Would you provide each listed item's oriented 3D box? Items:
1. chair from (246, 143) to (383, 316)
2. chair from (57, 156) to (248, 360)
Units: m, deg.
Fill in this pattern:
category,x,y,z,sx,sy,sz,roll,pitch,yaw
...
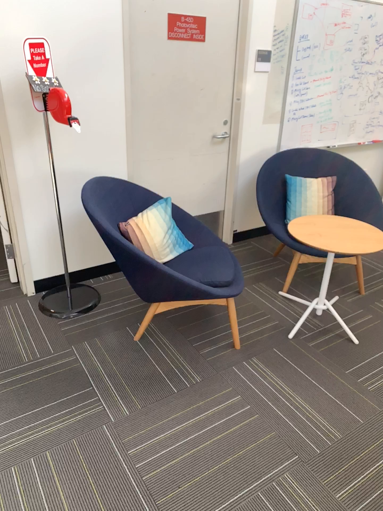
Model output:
category,x,y,z,sx,sy,sz,roll,pitch,yaw
chair,0.887,-0.259,2.988,0.830,0.945,0.985,5,26,7
chair,-0.153,-0.038,2.248,0.840,0.835,0.794,4,26,4
